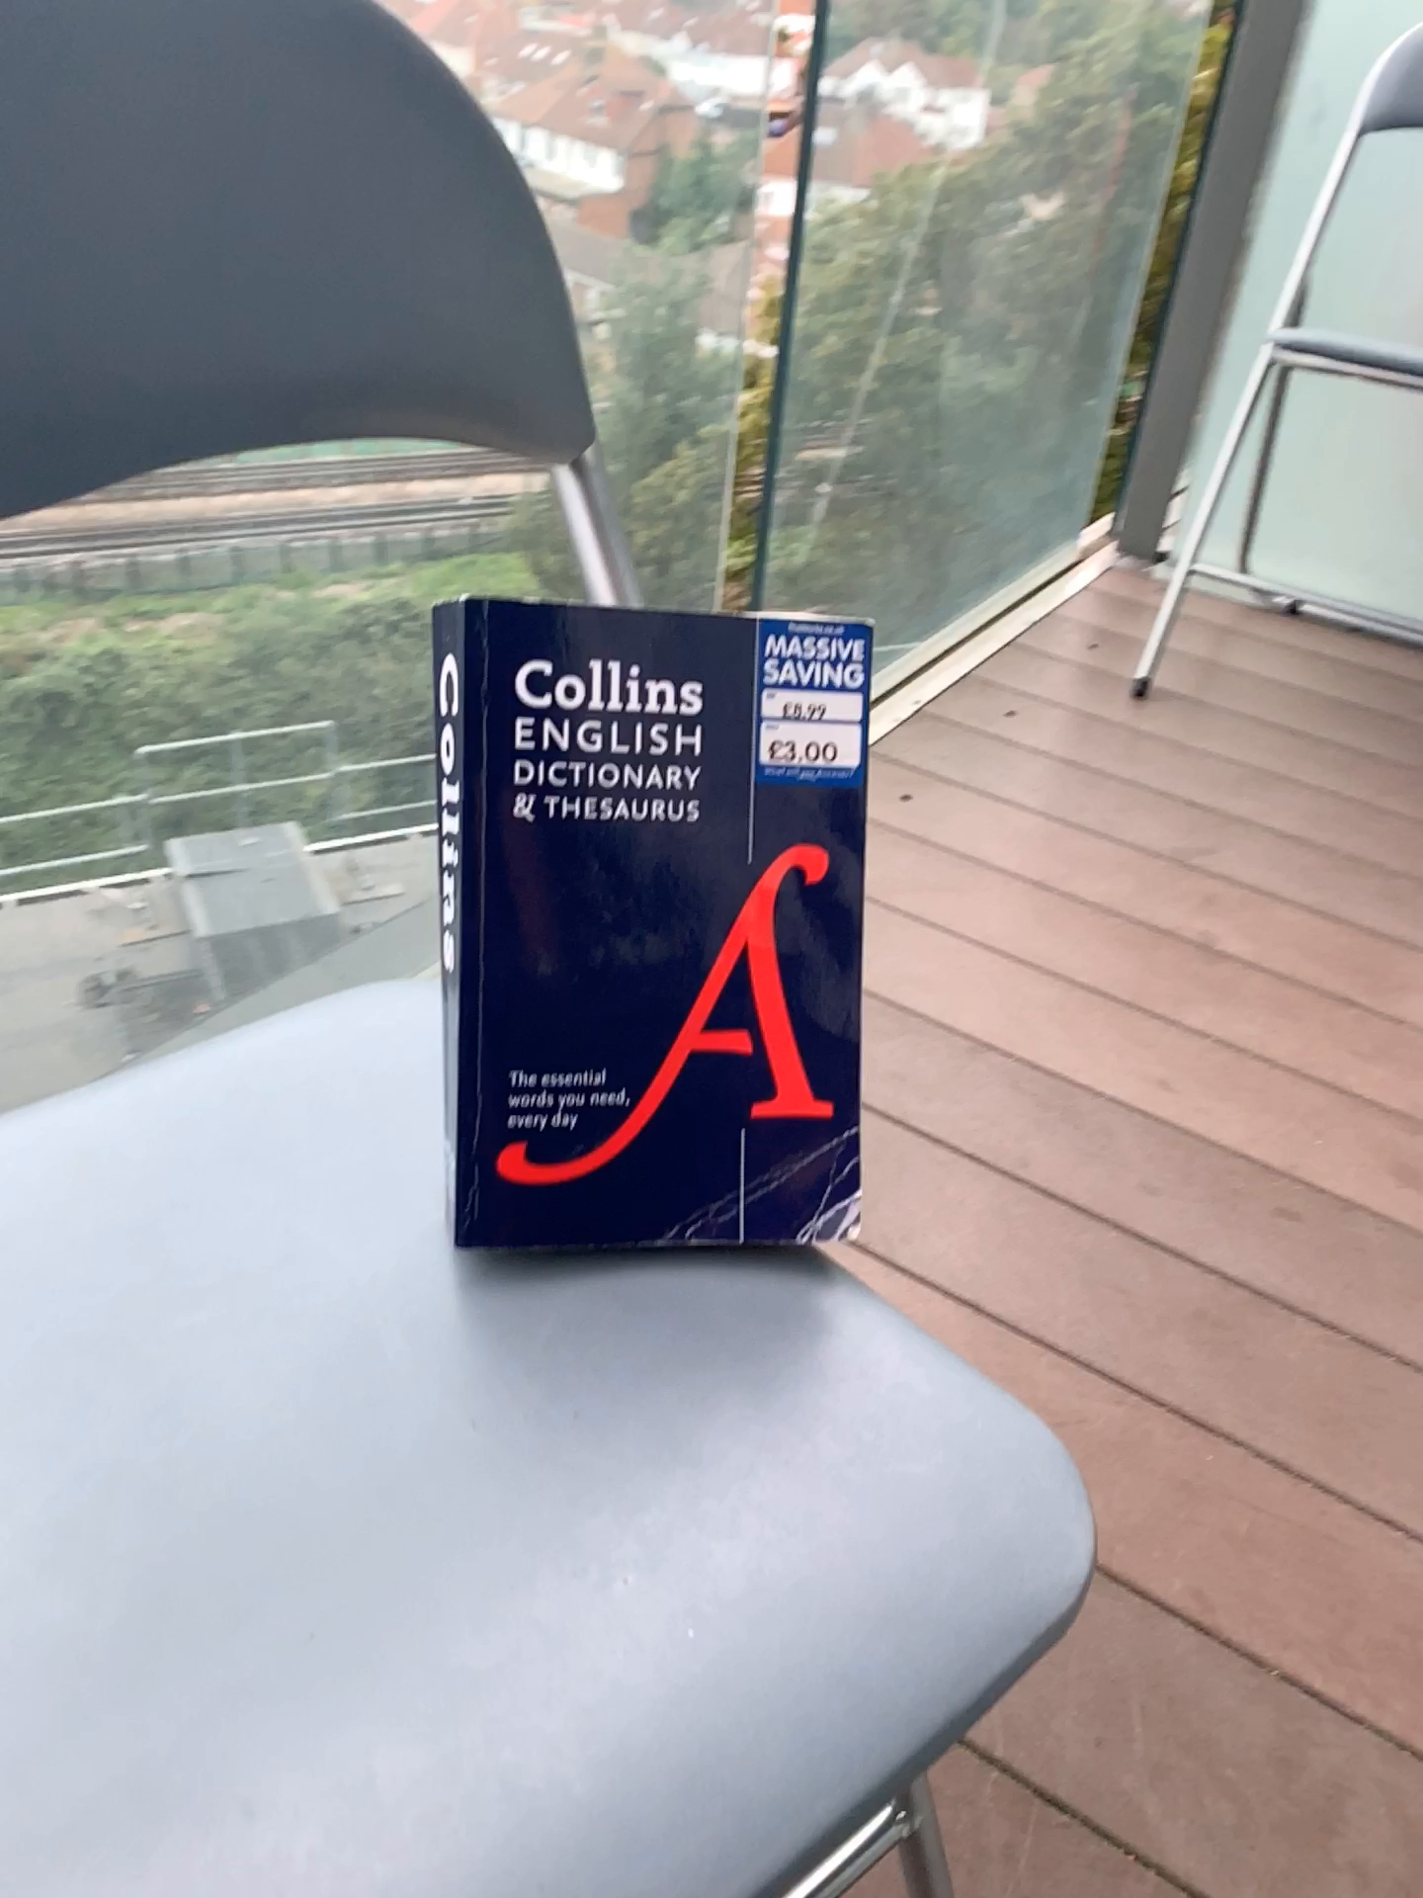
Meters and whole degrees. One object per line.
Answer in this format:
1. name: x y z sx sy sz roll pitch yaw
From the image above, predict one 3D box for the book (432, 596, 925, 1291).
1. book: -0.014 -0.003 0.454 0.140 0.199 0.060 1 7 -8
